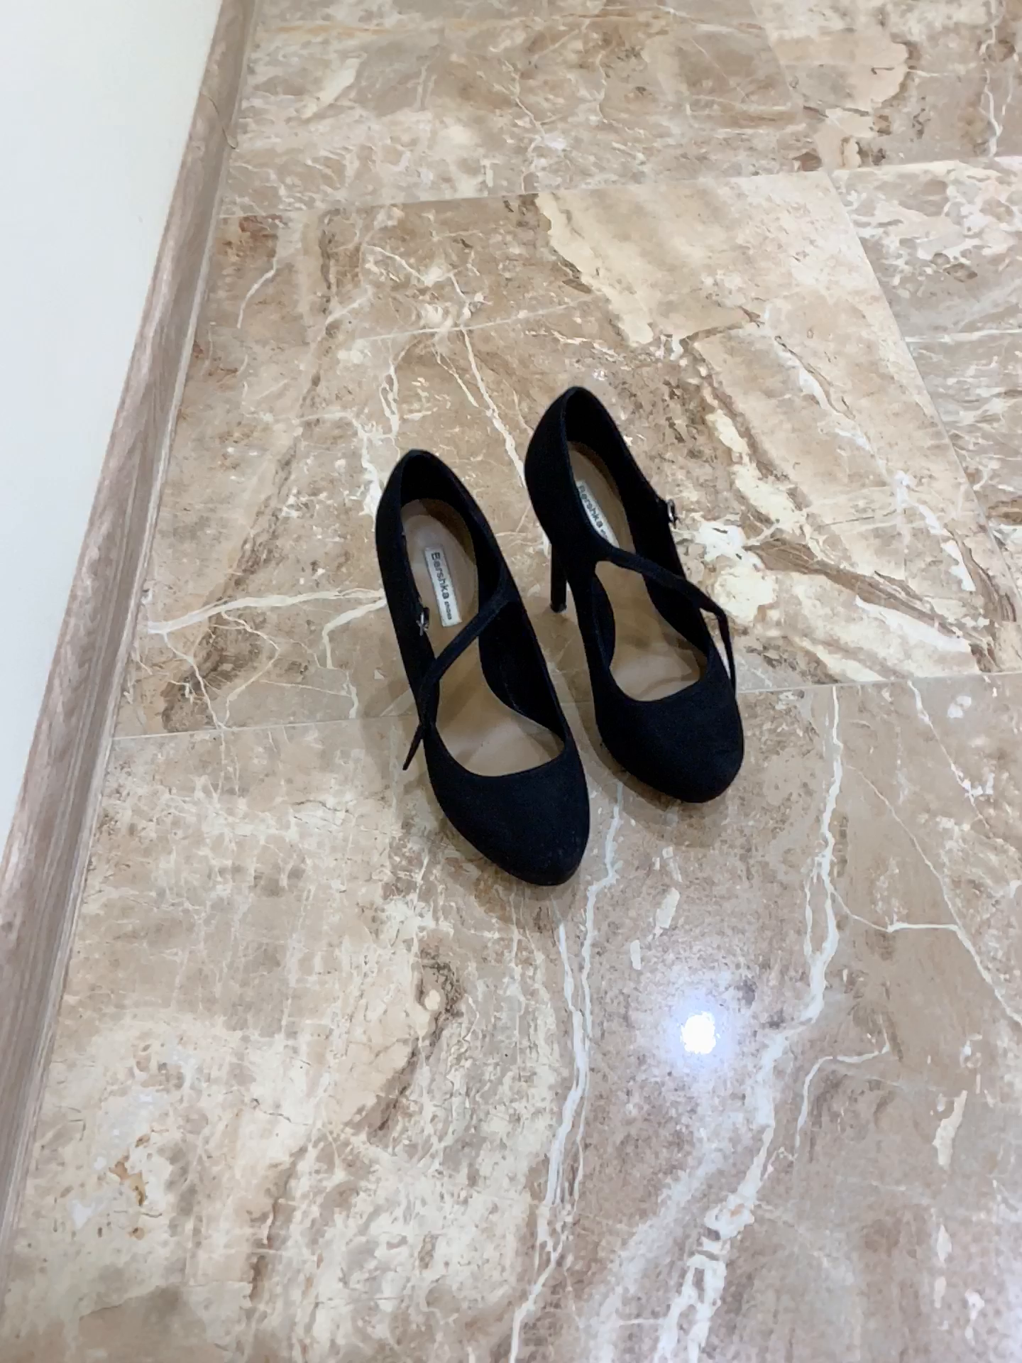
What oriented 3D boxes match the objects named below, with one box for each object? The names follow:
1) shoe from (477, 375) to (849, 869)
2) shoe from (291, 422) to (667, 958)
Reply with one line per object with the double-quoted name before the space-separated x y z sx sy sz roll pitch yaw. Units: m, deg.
"shoe" 0.070 -0.034 0.577 0.080 0.159 0.211 -24 56 -14
"shoe" -0.019 0.005 0.552 0.089 0.169 0.211 -24 56 -14
